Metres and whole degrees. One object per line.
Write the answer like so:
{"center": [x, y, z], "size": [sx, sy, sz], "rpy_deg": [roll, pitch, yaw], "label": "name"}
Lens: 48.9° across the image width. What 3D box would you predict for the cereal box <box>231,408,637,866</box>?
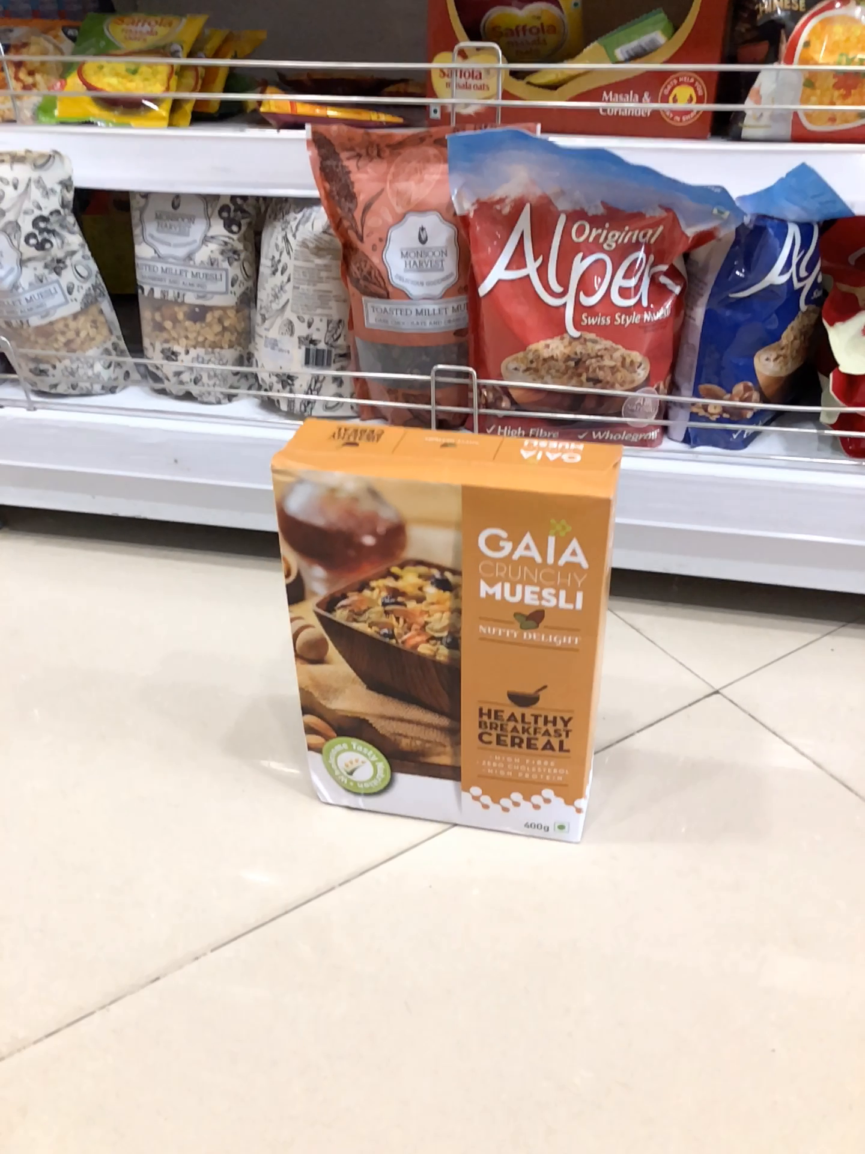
{"center": [0.005, 0.040, 0.535], "size": [0.190, 0.248, 0.060], "rpy_deg": [6, 35, 12], "label": "cereal box"}
